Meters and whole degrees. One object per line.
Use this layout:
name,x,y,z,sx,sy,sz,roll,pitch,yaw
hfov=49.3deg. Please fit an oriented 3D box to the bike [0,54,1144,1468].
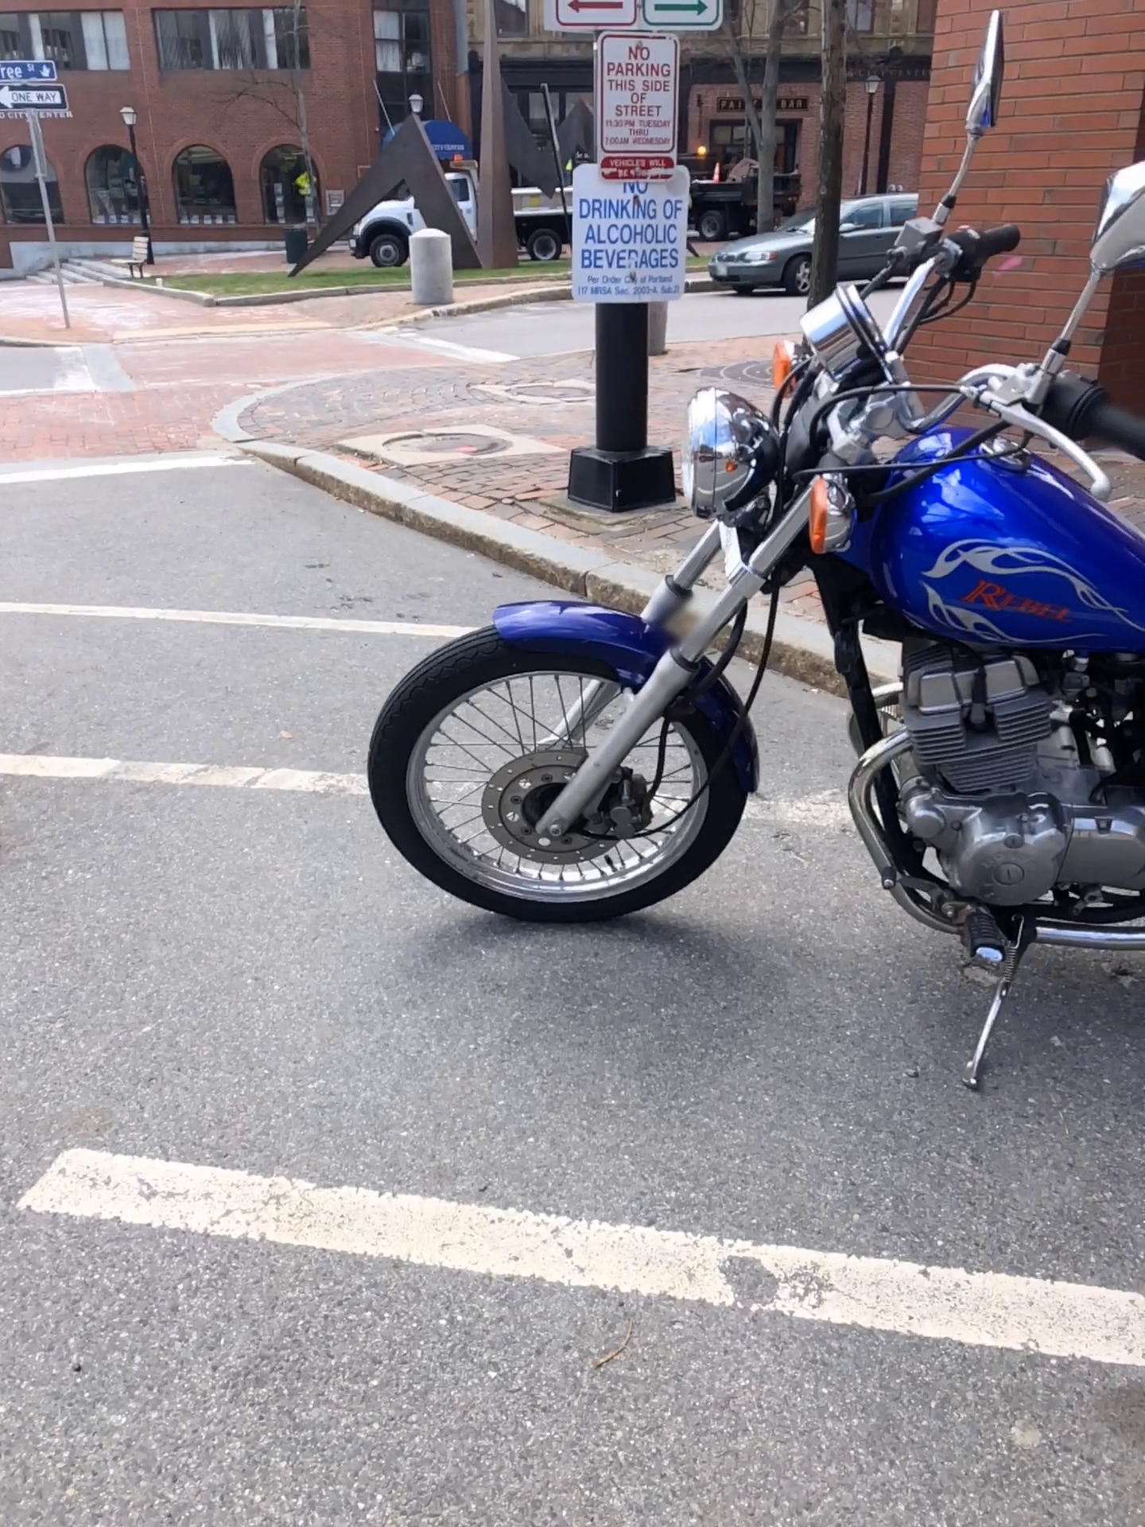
bike,0.704,-0.064,1.517,2.024,1.179,0.930,4,24,2
